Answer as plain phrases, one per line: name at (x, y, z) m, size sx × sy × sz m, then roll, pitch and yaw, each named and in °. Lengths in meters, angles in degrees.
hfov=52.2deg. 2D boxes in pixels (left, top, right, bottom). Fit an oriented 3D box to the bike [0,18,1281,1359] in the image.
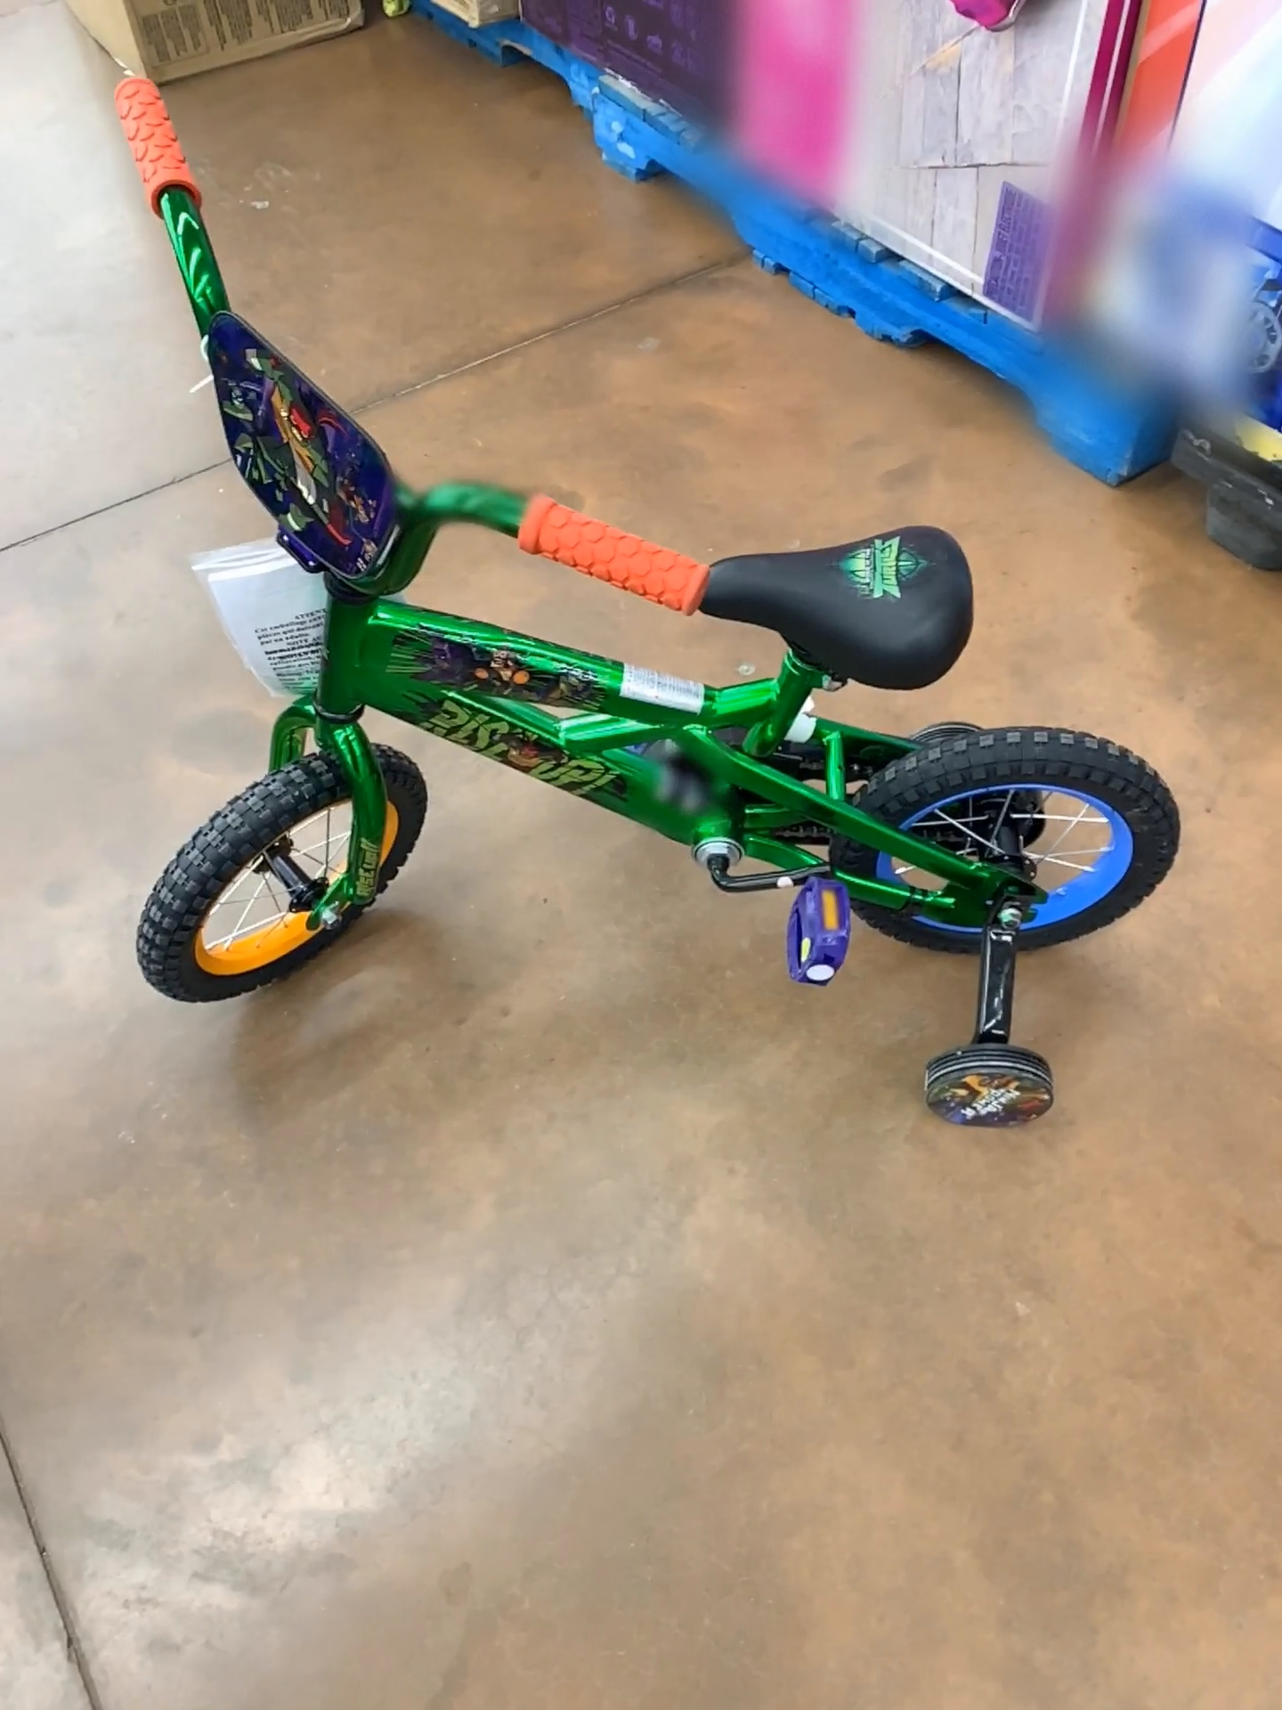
bike at (0.022, -0.070, 0.899) m, size 0.828 × 0.677 × 0.533 m, roll -3°, pitch 52°, yaw 0°
